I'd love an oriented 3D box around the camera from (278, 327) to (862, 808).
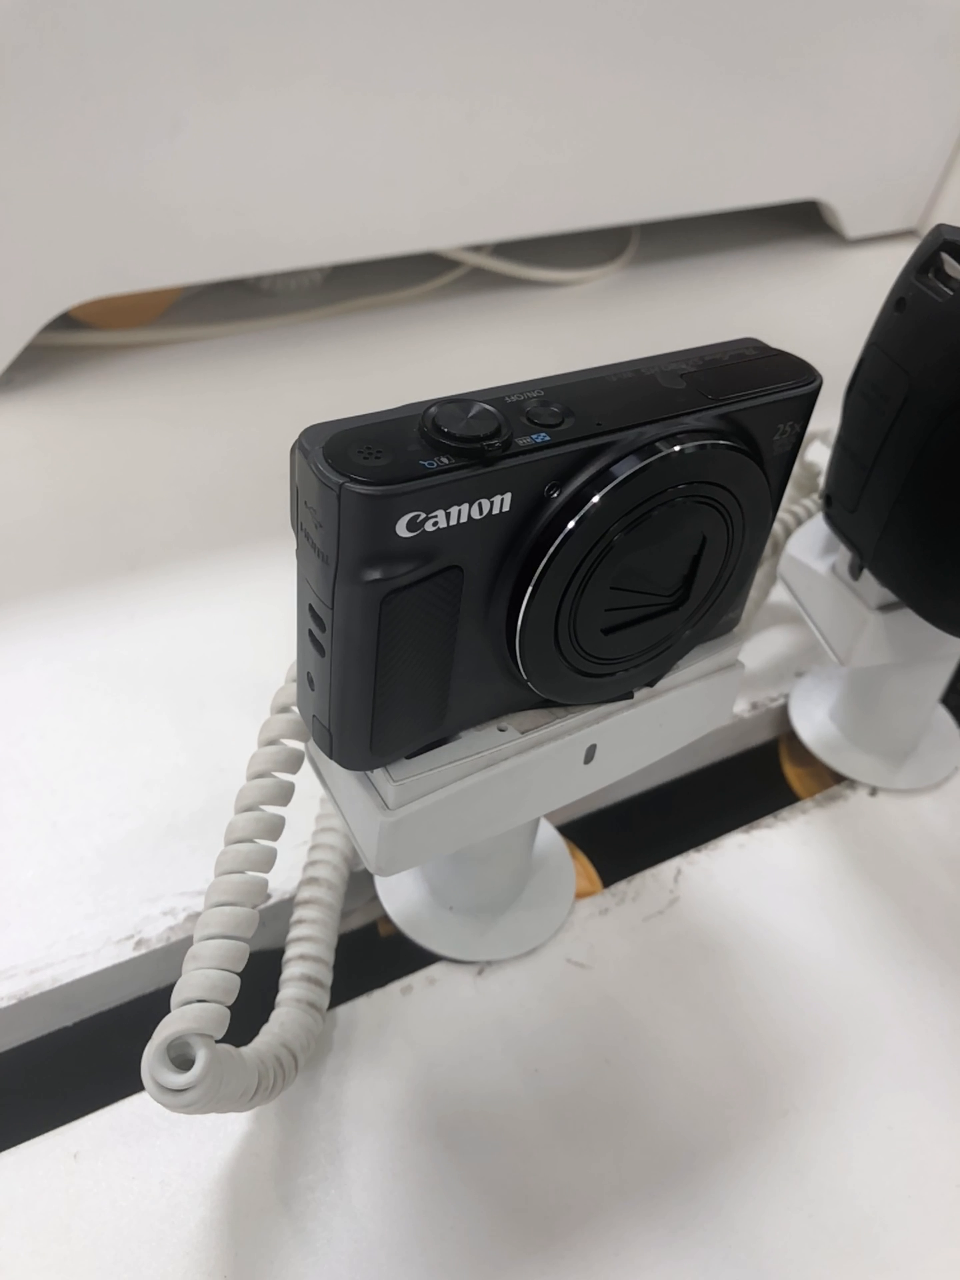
[{"bbox_3d":[0.014,-0.014,0.185,0.093,0.057,0.025,-19,51,-27],"label":"camera"}]
